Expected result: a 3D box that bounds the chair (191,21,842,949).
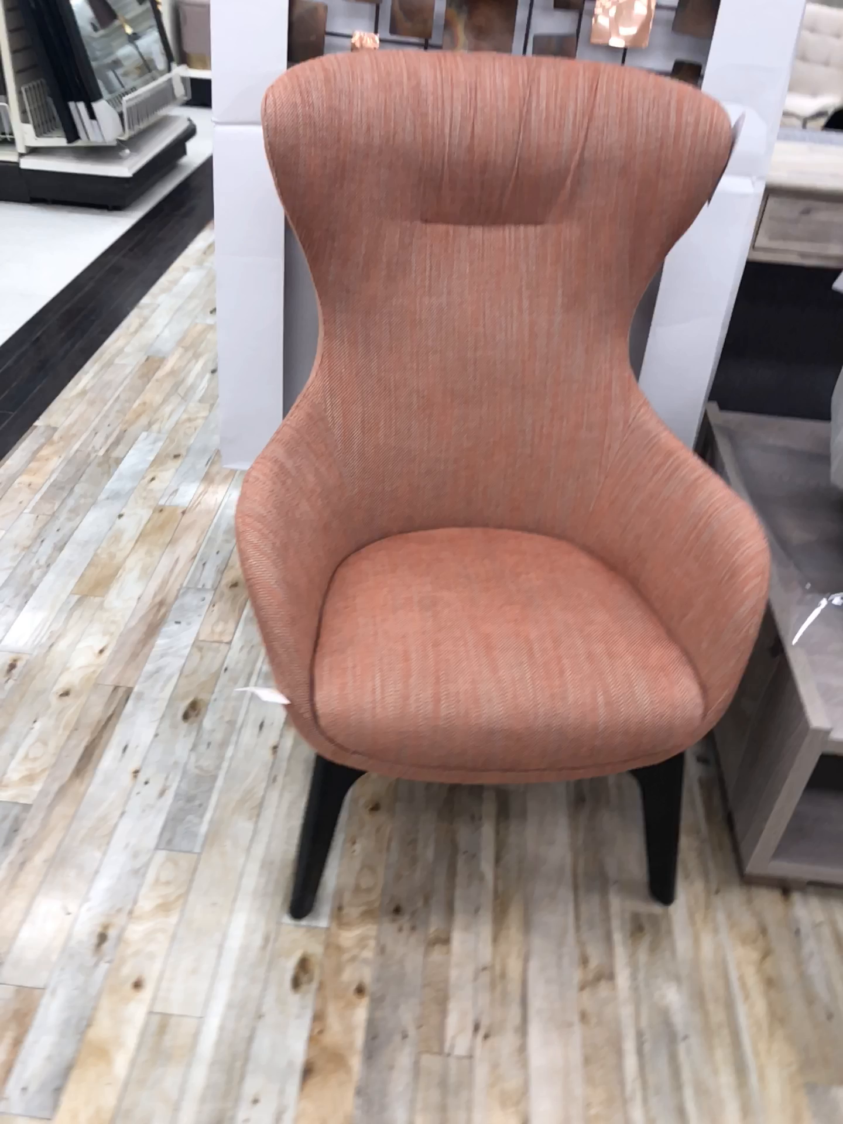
[{"bbox_3d":[0.102,-0.103,1.346,0.690,1.065,0.753,0,36,-6],"label":"chair"}]
